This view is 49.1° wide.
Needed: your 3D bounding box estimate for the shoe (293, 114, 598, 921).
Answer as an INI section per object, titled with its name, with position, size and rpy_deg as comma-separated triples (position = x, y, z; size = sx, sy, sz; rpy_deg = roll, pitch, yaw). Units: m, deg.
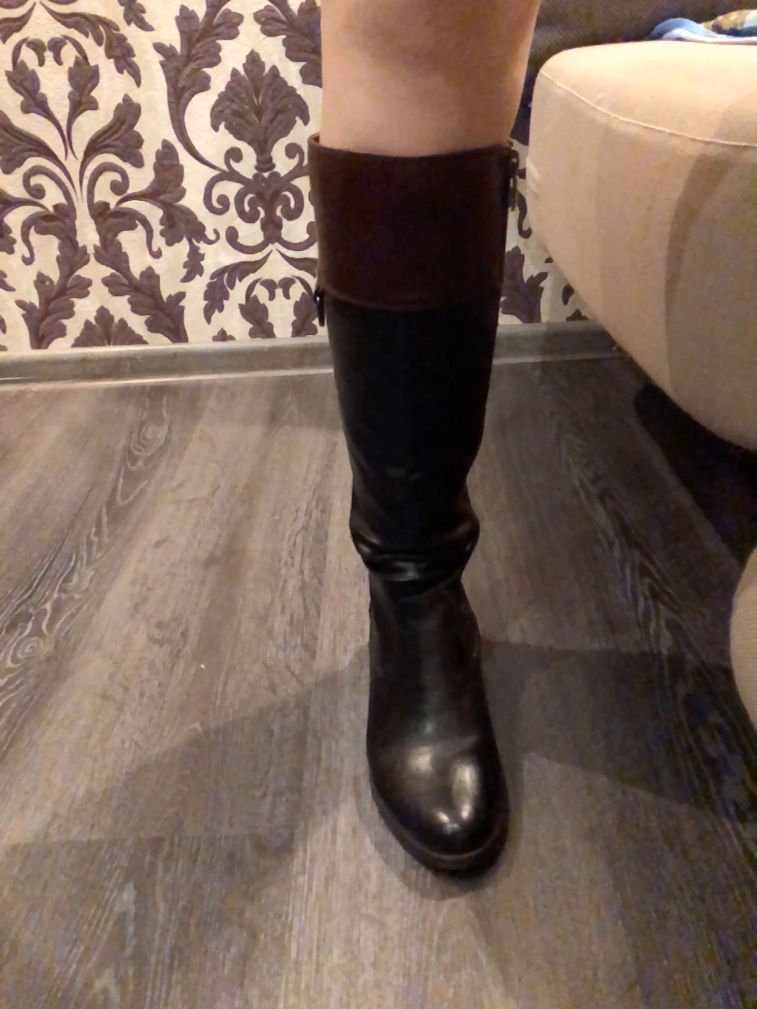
[shoe]
position = 0.033, 0.000, 0.518
size = 0.110, 0.417, 0.272
rpy_deg = -3, 29, 1
